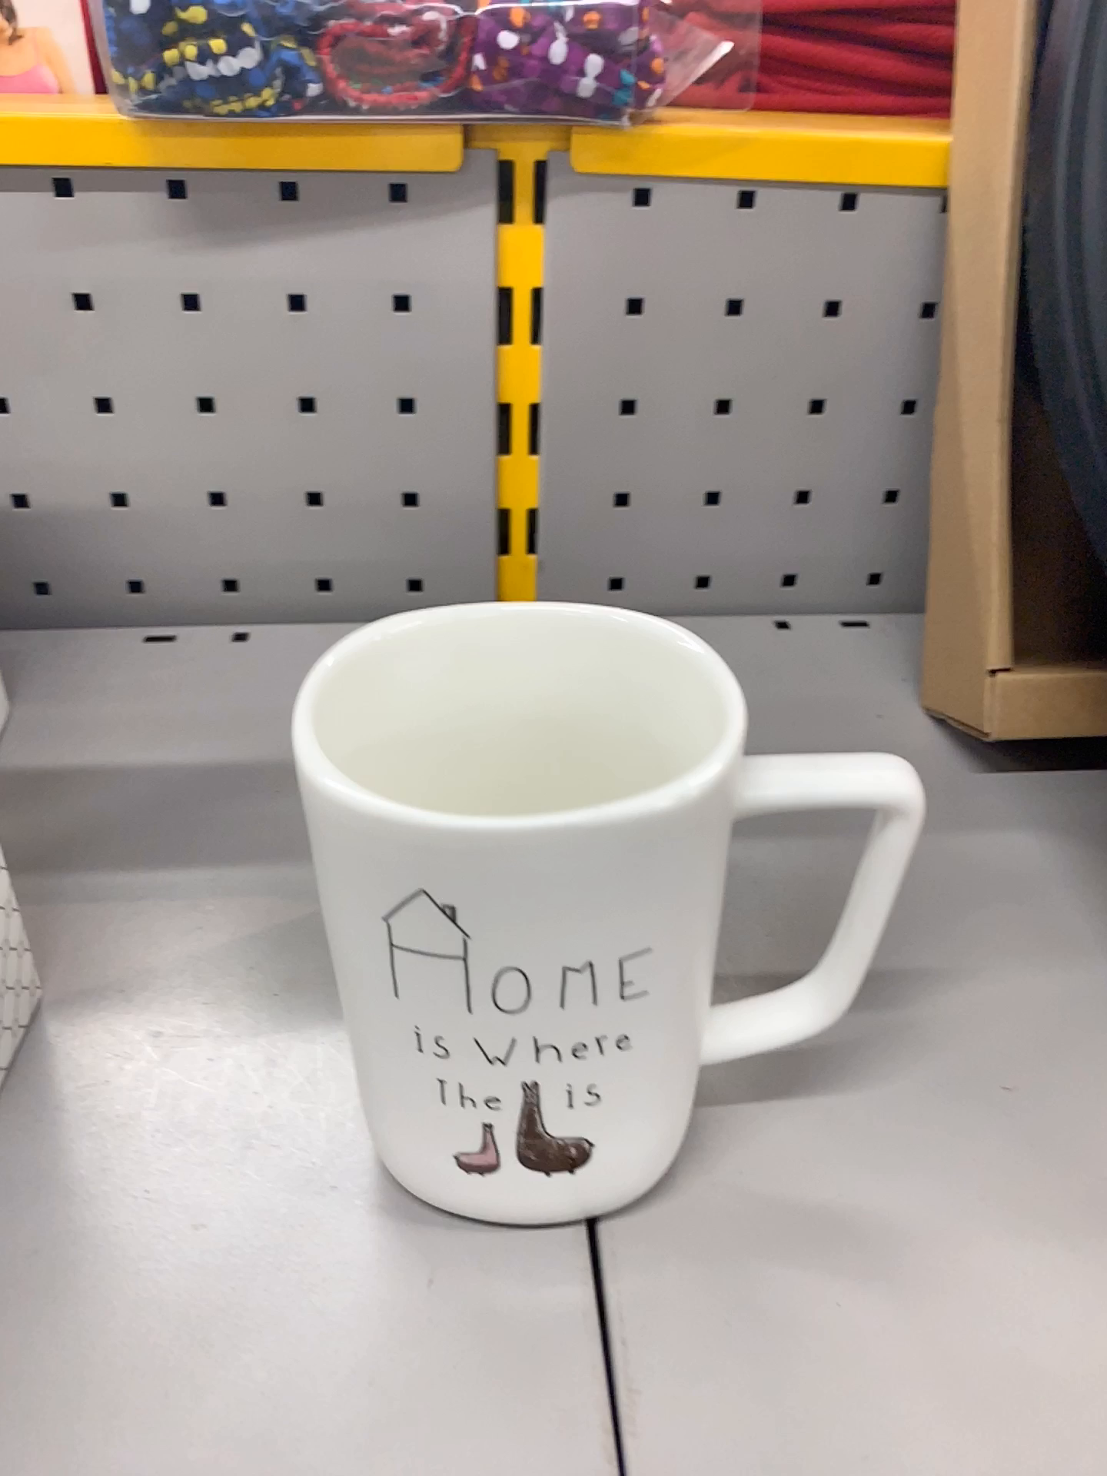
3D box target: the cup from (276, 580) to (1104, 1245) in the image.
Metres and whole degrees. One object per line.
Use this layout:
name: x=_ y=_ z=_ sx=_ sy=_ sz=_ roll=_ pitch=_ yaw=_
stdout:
cup: x=0.017 y=0.031 z=0.220 sx=0.120 sy=0.100 sz=0.070 roll=-2 pitch=33 yaw=-5
